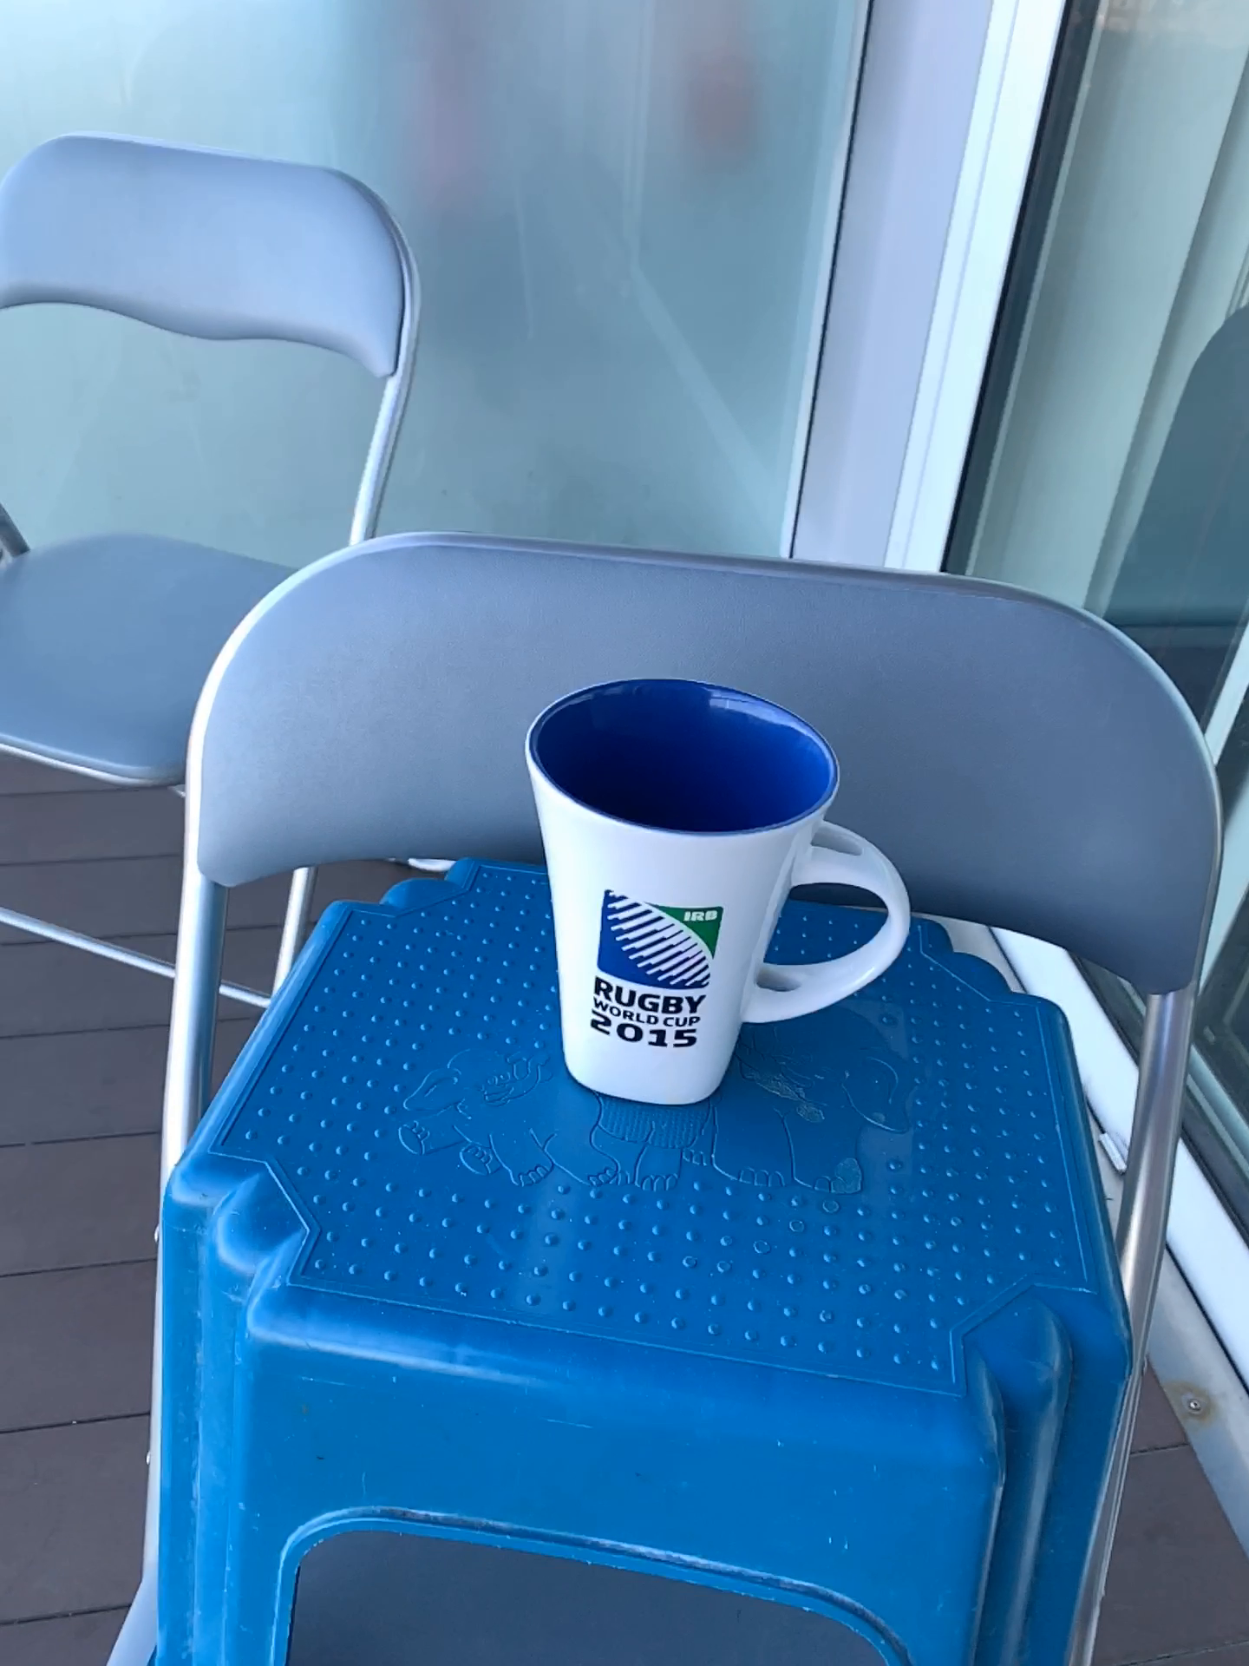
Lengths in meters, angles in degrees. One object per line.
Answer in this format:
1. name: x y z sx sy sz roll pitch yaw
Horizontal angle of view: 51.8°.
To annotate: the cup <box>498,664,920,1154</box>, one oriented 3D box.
1. cup: 0.023 0.022 0.387 0.107 0.105 0.083 7 36 4
